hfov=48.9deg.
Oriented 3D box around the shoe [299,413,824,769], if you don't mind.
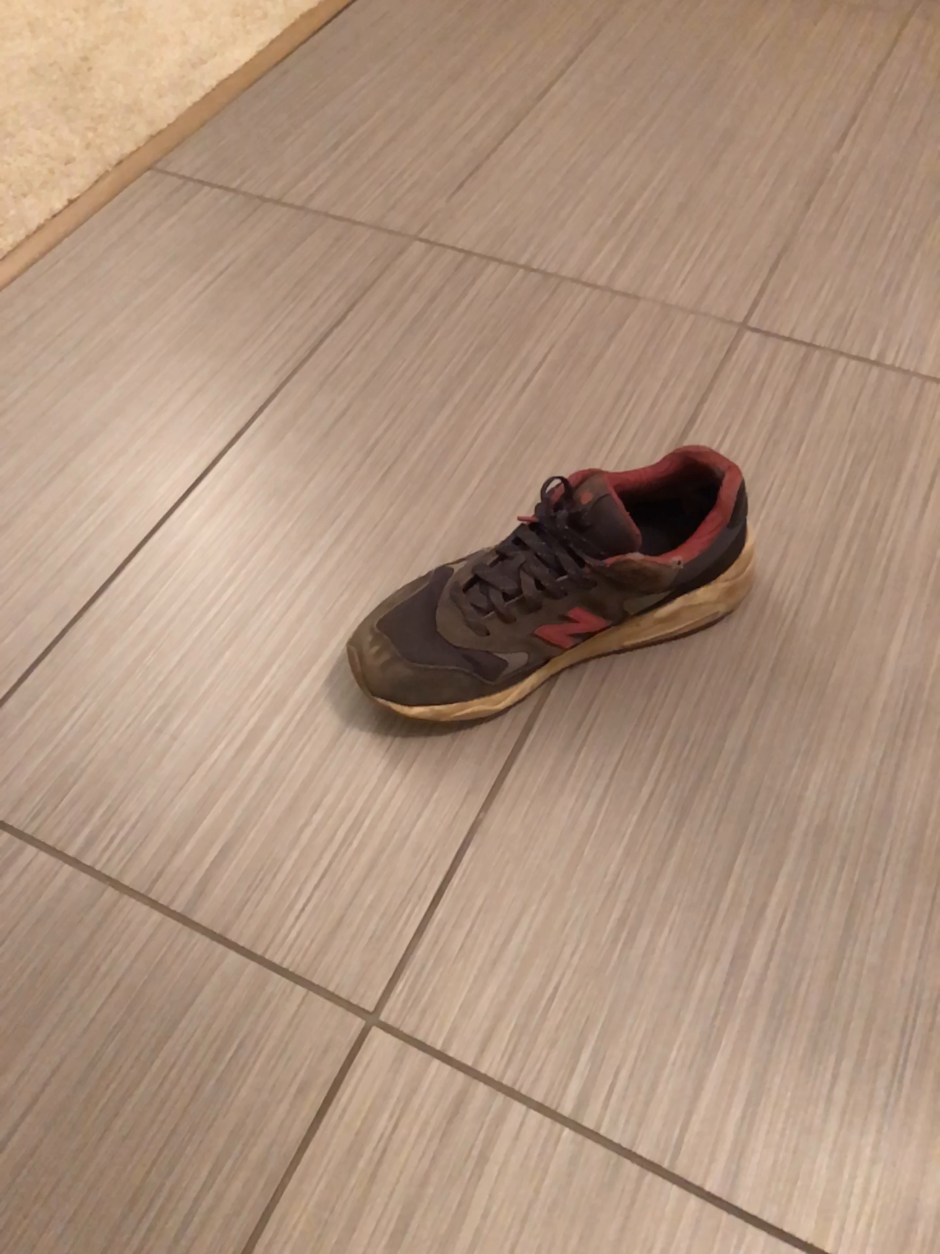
[{"bbox_3d":[0.051,-0.027,0.611,0.270,0.070,0.120,-18,55,-12],"label":"shoe"}]
